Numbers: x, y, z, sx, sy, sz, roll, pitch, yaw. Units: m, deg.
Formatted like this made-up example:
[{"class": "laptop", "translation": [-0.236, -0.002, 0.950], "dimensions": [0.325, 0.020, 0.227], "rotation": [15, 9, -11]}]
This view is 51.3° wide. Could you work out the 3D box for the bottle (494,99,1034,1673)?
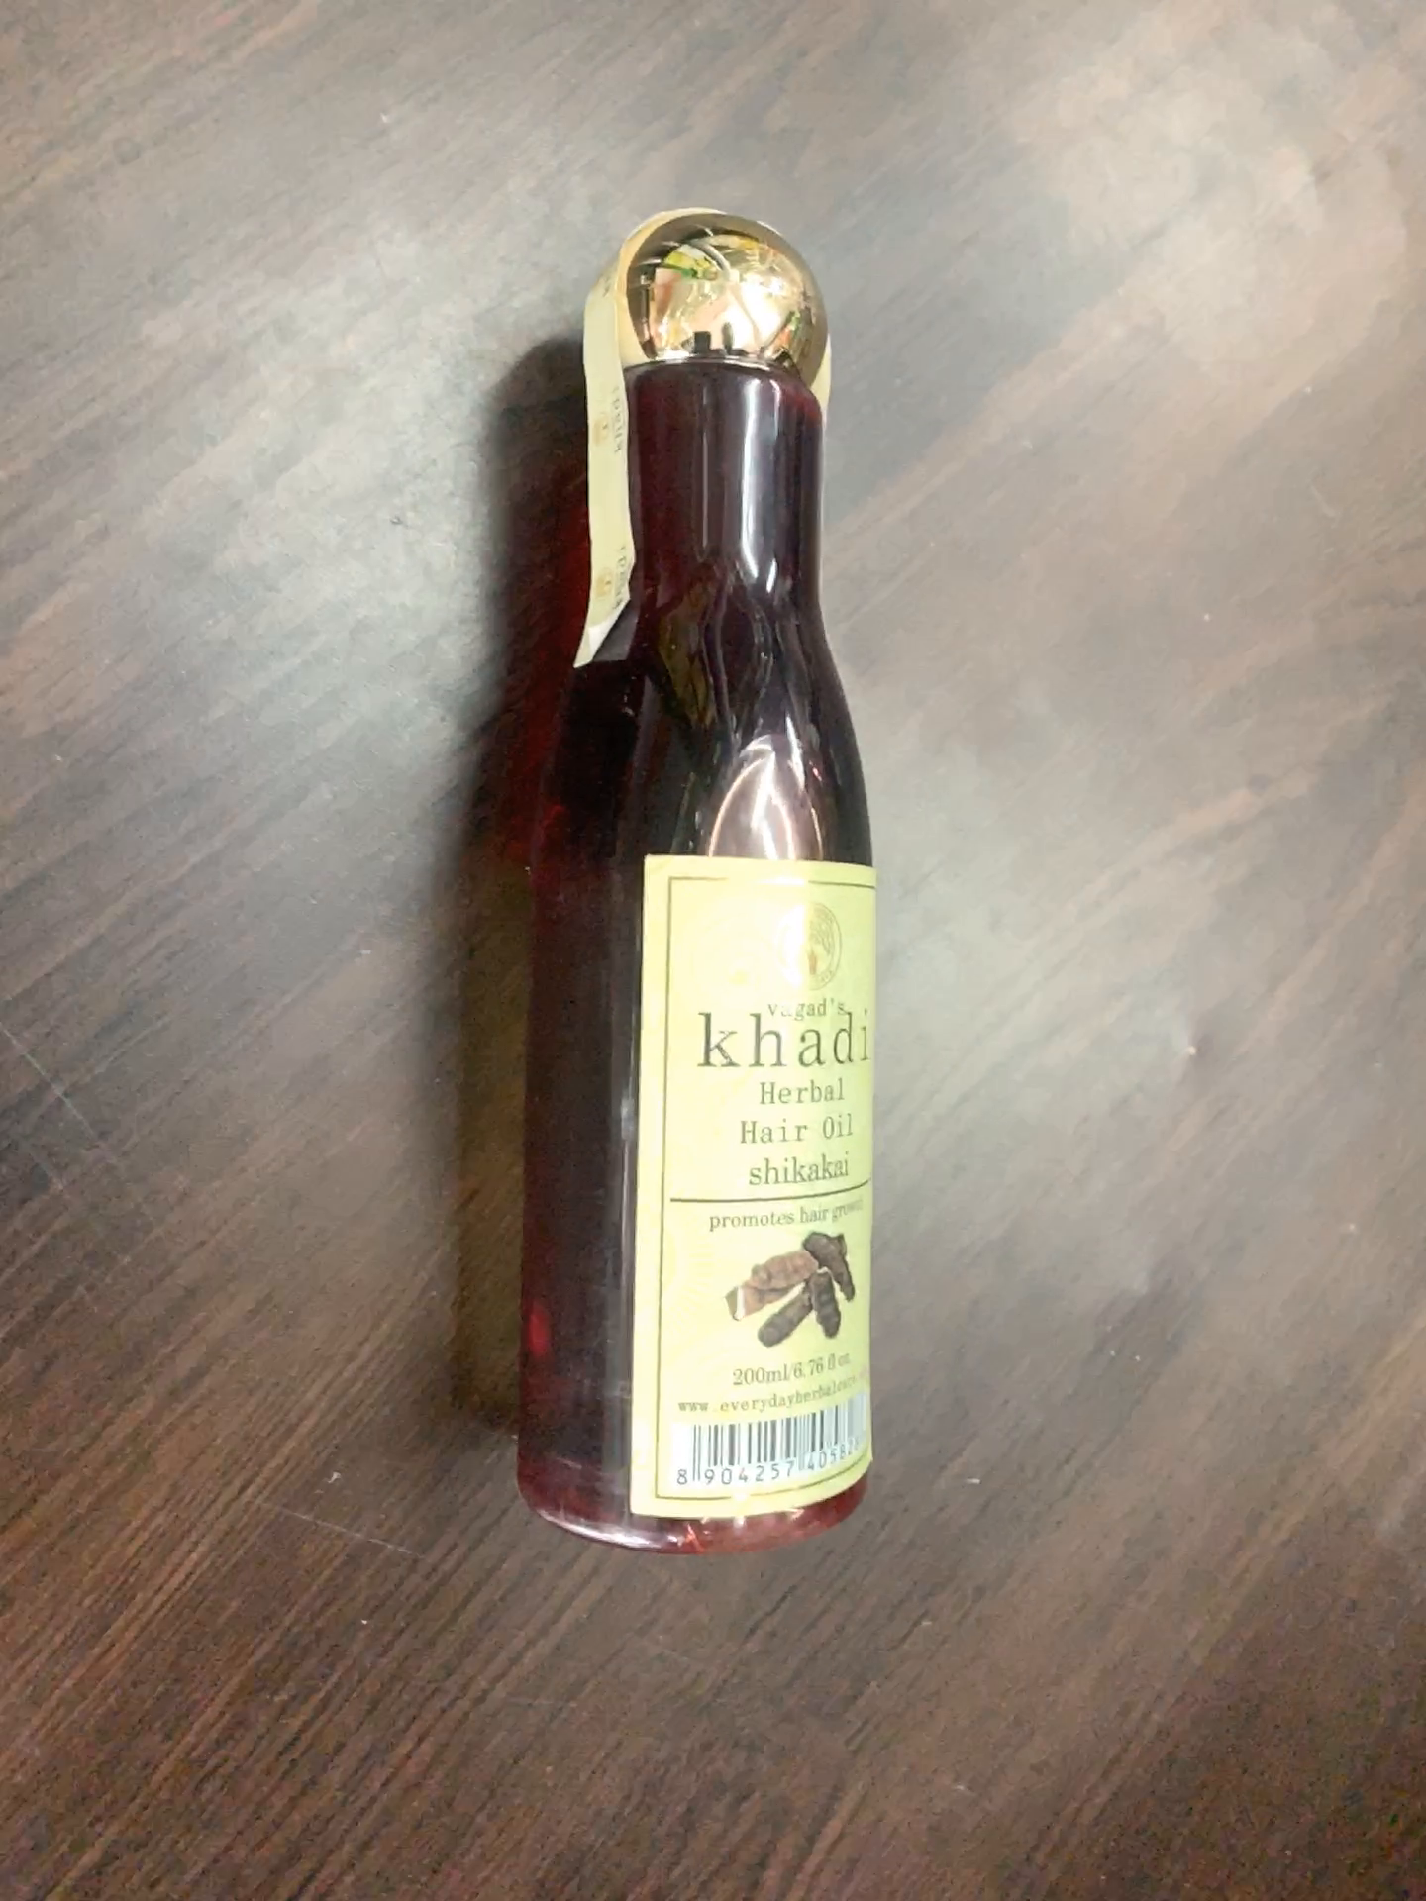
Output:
[{"class": "bottle", "translation": [0.005, -0.007, 0.194], "dimensions": [0.050, 0.050, 0.170], "rotation": [1, 89, -30]}]
